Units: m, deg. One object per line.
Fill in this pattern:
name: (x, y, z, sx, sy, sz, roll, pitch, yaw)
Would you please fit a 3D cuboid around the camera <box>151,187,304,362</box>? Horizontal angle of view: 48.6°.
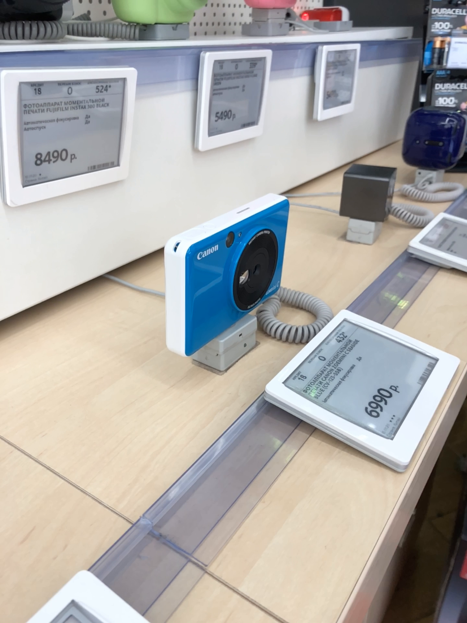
camera: (0.000, -0.029, 0.336, 0.030, 0.070, 0.120, 22, 36, 28)
